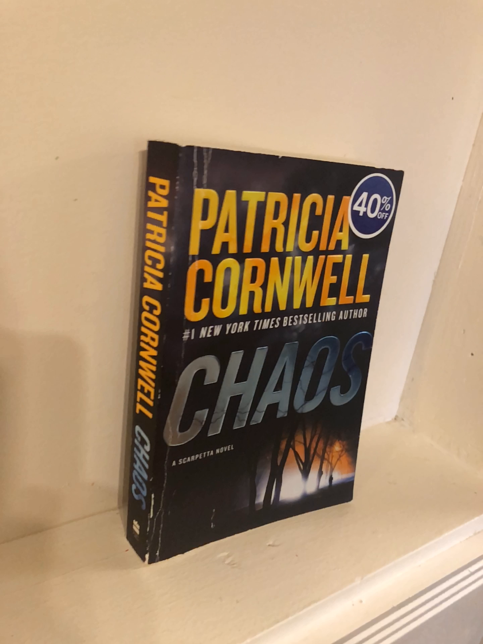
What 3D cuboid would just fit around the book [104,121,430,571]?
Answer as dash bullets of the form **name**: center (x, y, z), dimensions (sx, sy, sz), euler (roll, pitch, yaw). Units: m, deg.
- **book**: center (0.013, 0.010, 0.311), dimensions (0.170, 0.219, 0.050), euler (-4, 17, -30)
